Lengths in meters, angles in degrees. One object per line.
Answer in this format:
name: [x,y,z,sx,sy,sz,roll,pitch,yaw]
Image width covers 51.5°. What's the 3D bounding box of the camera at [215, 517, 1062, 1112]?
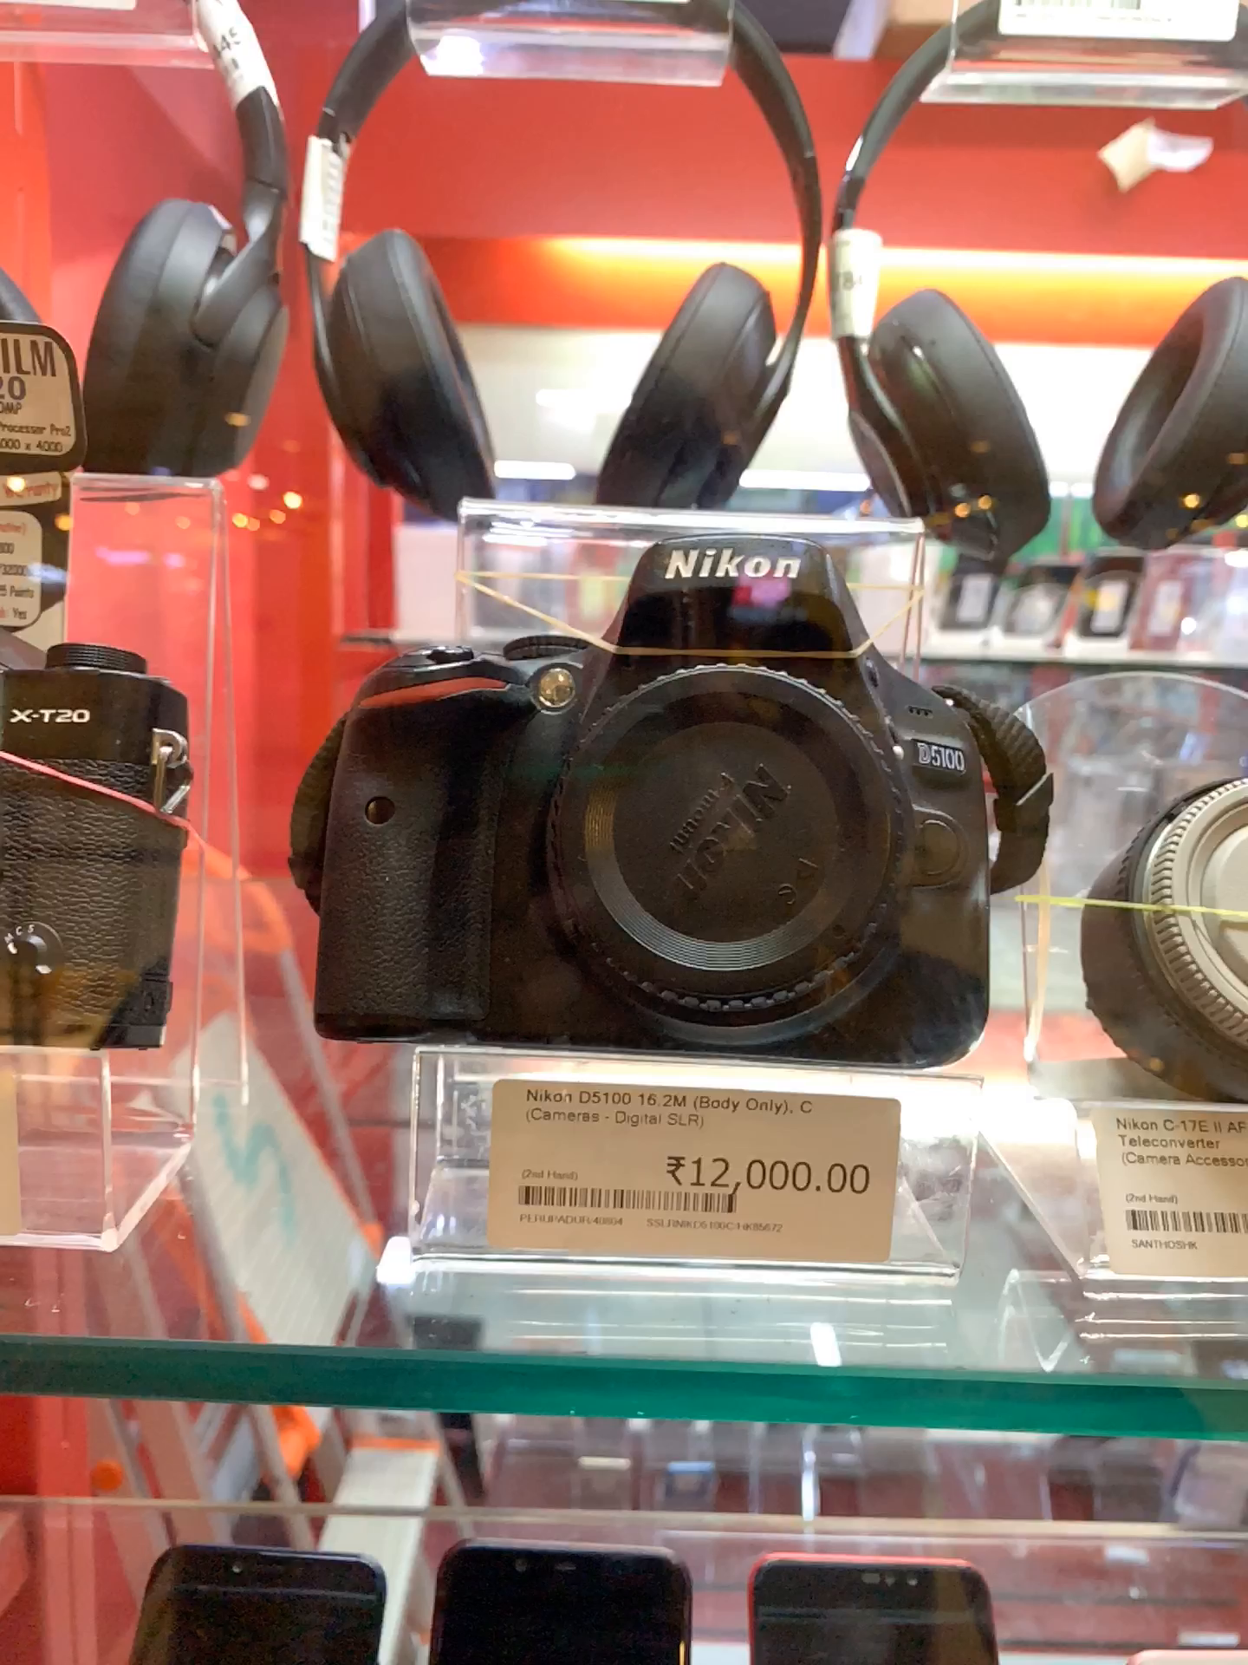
camera: [0.001,-0.007,0.240,0.130,0.090,0.070,2,9,1]
